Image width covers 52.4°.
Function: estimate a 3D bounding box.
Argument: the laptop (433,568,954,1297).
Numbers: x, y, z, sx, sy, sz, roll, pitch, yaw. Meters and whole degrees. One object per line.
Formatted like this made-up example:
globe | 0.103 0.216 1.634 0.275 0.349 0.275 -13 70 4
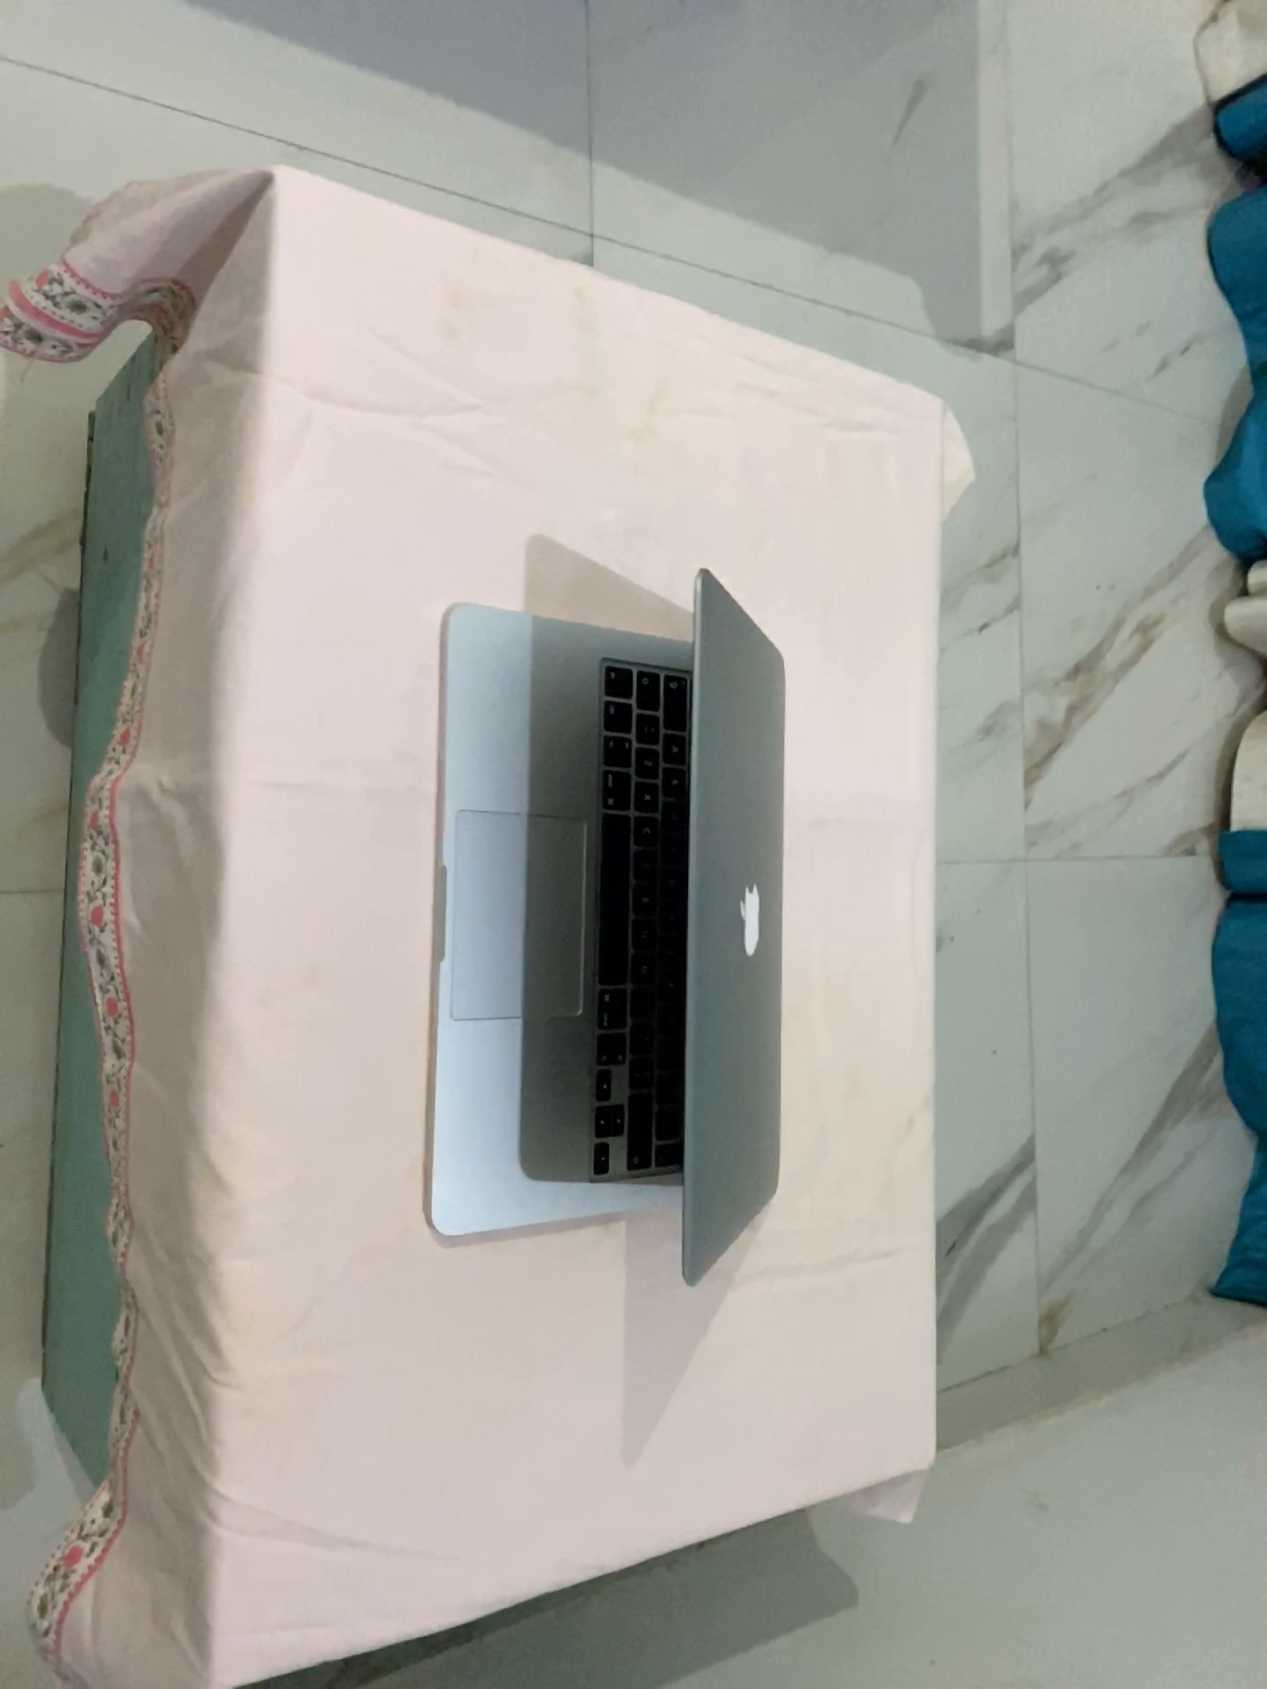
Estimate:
laptop | 0.030 0.041 0.638 0.209 0.138 0.296 2 88 -33
